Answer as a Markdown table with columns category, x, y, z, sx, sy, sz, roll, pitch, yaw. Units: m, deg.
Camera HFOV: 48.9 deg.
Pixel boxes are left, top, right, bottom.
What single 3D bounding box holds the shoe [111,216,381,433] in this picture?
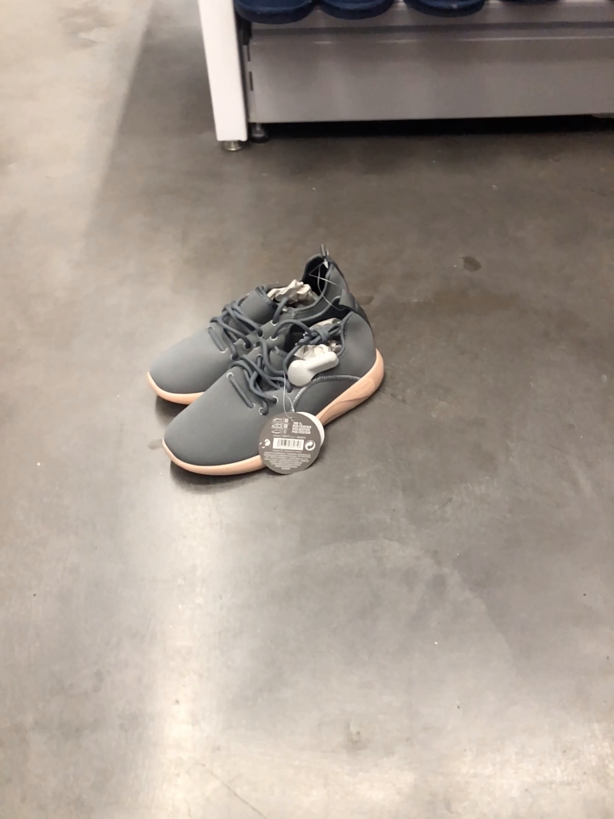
| category | x | y | z | sx | sy | sz | roll | pitch | yaw |
| --- | --- | --- | --- | --- | --- | --- | --- | --- | --- |
| shoe | -0.054 | -0.089 | 0.677 | 0.241 | 0.100 | 0.090 | -26 | 56 | -18 |

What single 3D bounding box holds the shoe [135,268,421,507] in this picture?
| category | x | y | z | sx | sy | sz | roll | pitch | yaw |
| --- | --- | --- | --- | --- | --- | --- | --- | --- | --- |
| shoe | -0.021 | -0.025 | 0.633 | 0.241 | 0.100 | 0.090 | -28 | 56 | -19 |
